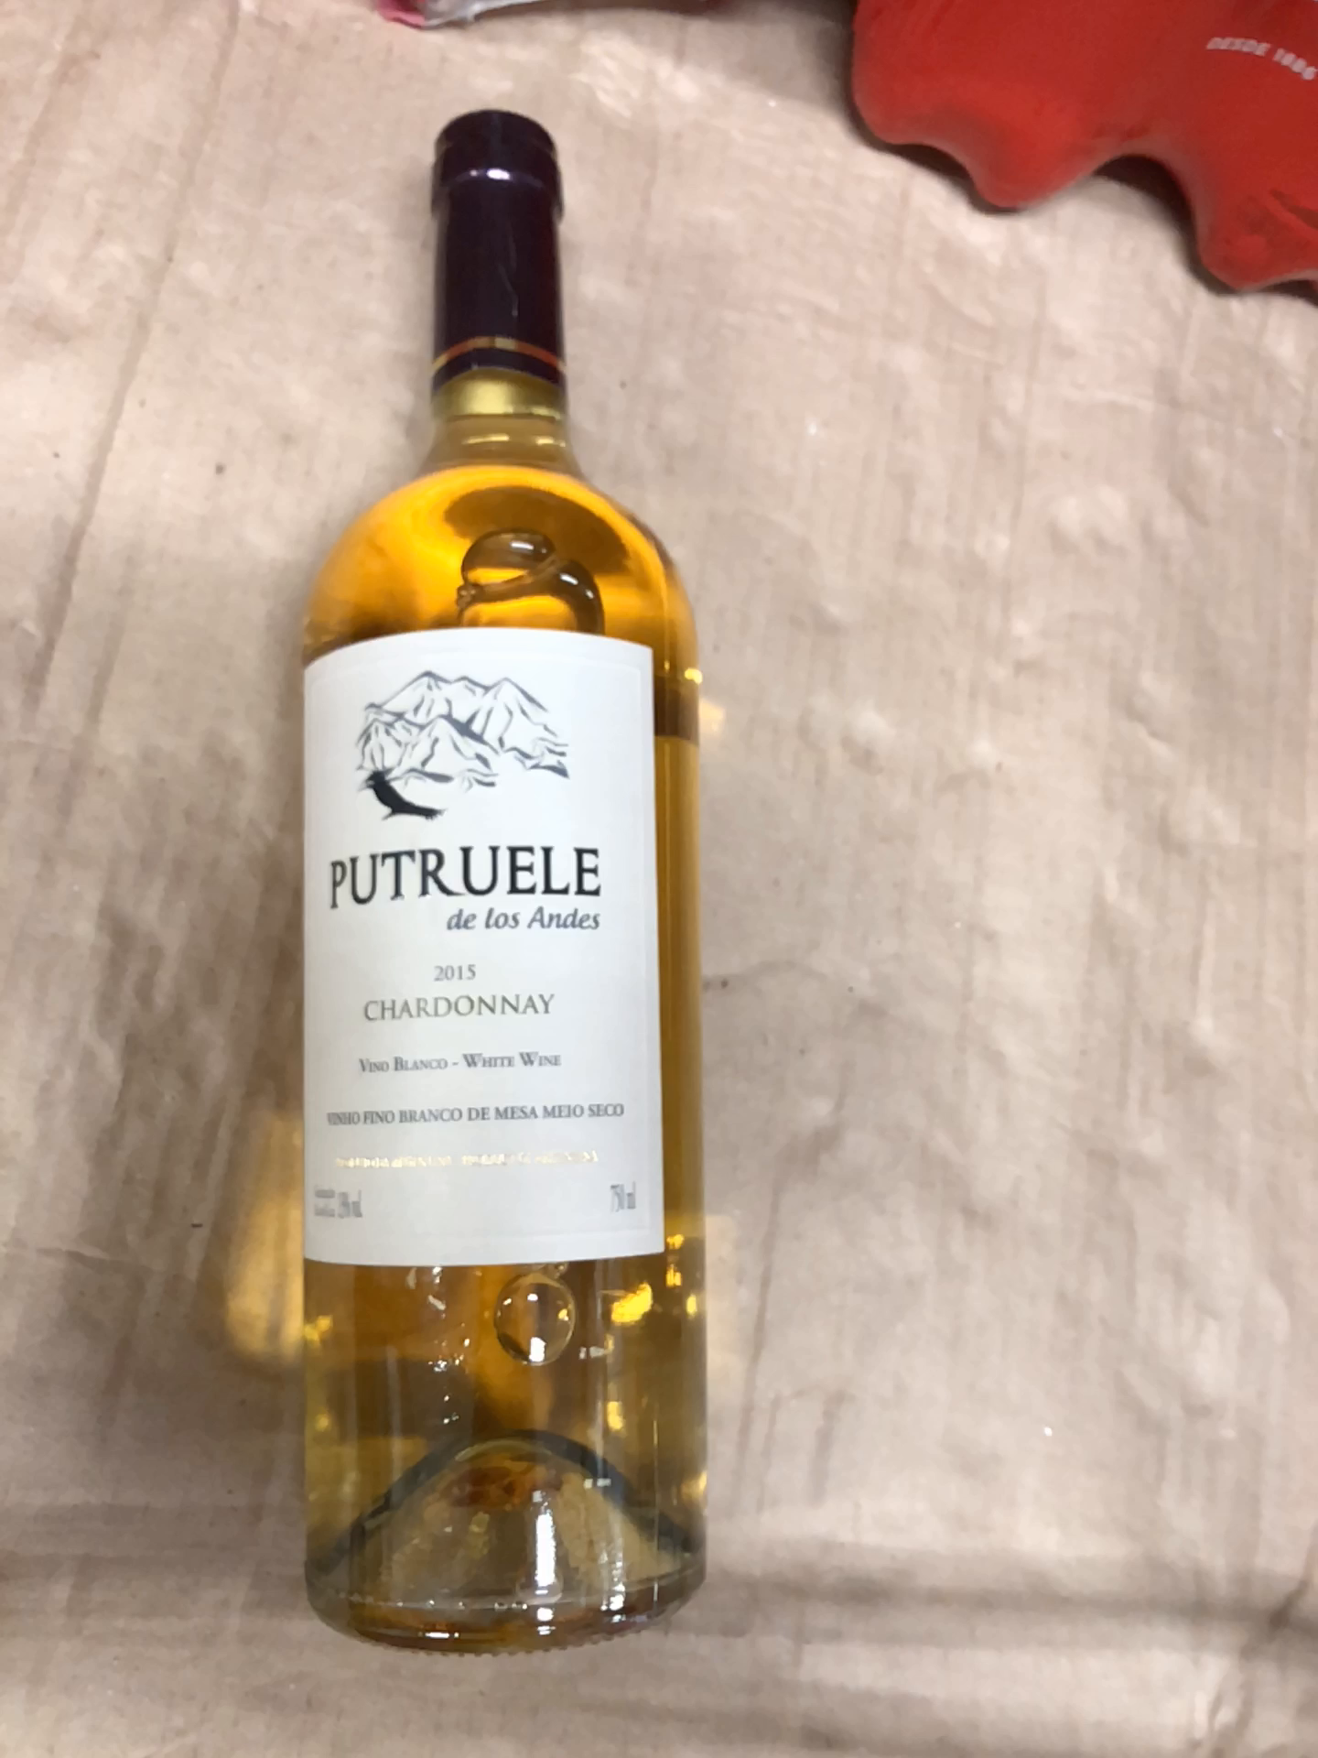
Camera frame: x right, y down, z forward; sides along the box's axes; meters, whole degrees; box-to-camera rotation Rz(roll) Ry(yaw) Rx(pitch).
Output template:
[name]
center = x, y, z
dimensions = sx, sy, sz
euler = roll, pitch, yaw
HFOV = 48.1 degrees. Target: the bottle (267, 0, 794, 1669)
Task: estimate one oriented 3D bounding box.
[bottle]
center = -0.023, -0.019, 0.290
dimensions = 0.080, 0.070, 0.300
euler = -4, 79, 6
